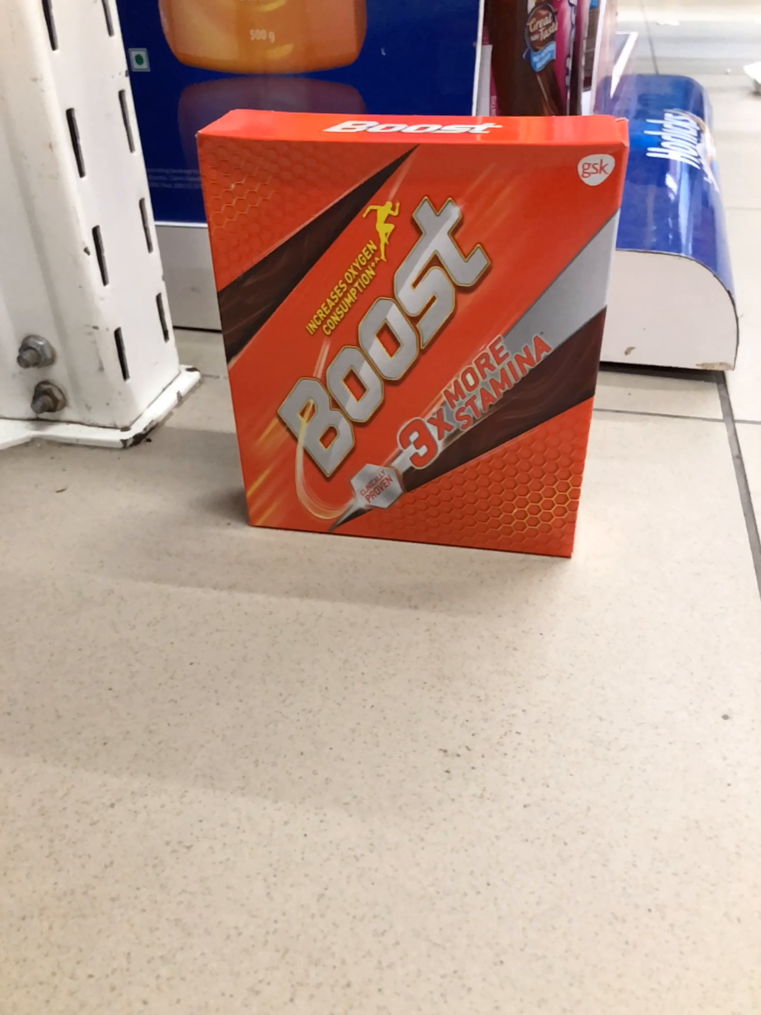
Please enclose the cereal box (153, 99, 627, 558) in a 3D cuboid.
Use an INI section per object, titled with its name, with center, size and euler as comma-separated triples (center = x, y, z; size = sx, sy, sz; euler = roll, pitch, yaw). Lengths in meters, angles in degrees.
[cereal box]
center = 0.006, -0.069, 0.355
size = 0.160, 0.179, 0.050
euler = 2, 34, 6
